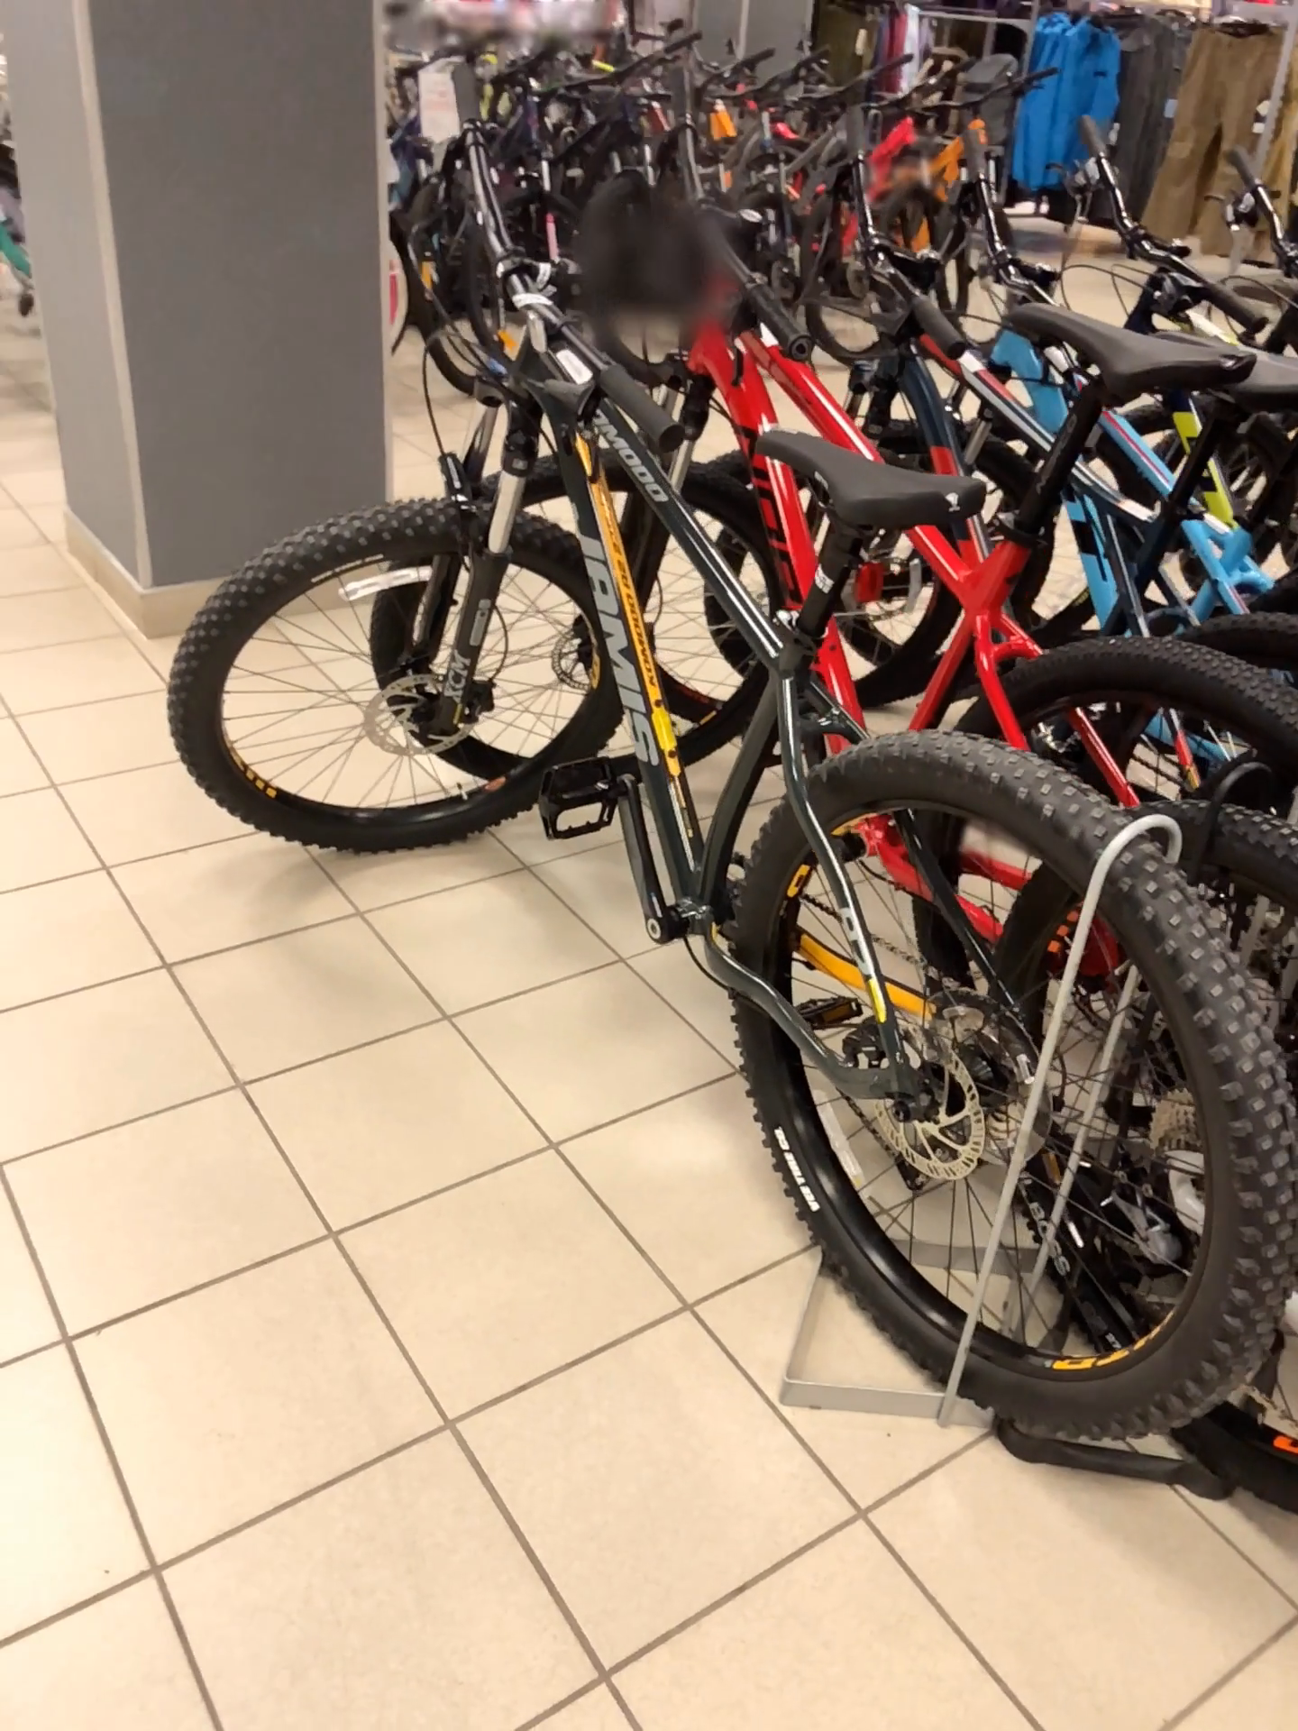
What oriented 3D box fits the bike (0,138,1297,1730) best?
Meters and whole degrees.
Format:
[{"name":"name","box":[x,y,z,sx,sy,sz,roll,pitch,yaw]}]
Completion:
[{"name":"bike","box":[-0.016,-0.076,1.543,0.810,1.166,1.545,-24,40,-39]}]
